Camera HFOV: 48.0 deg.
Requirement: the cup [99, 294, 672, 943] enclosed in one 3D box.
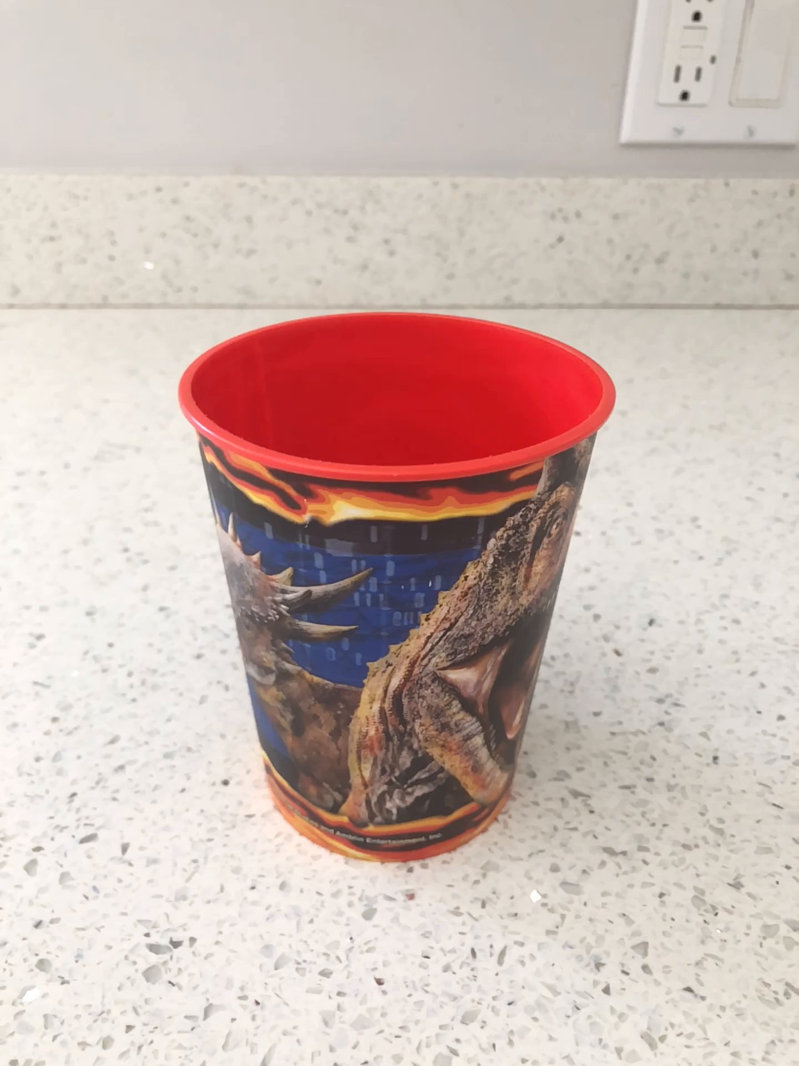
[{"bbox_3d":[0.001,0.014,0.206,0.090,0.110,0.090,0,31,0],"label":"cup"}]
